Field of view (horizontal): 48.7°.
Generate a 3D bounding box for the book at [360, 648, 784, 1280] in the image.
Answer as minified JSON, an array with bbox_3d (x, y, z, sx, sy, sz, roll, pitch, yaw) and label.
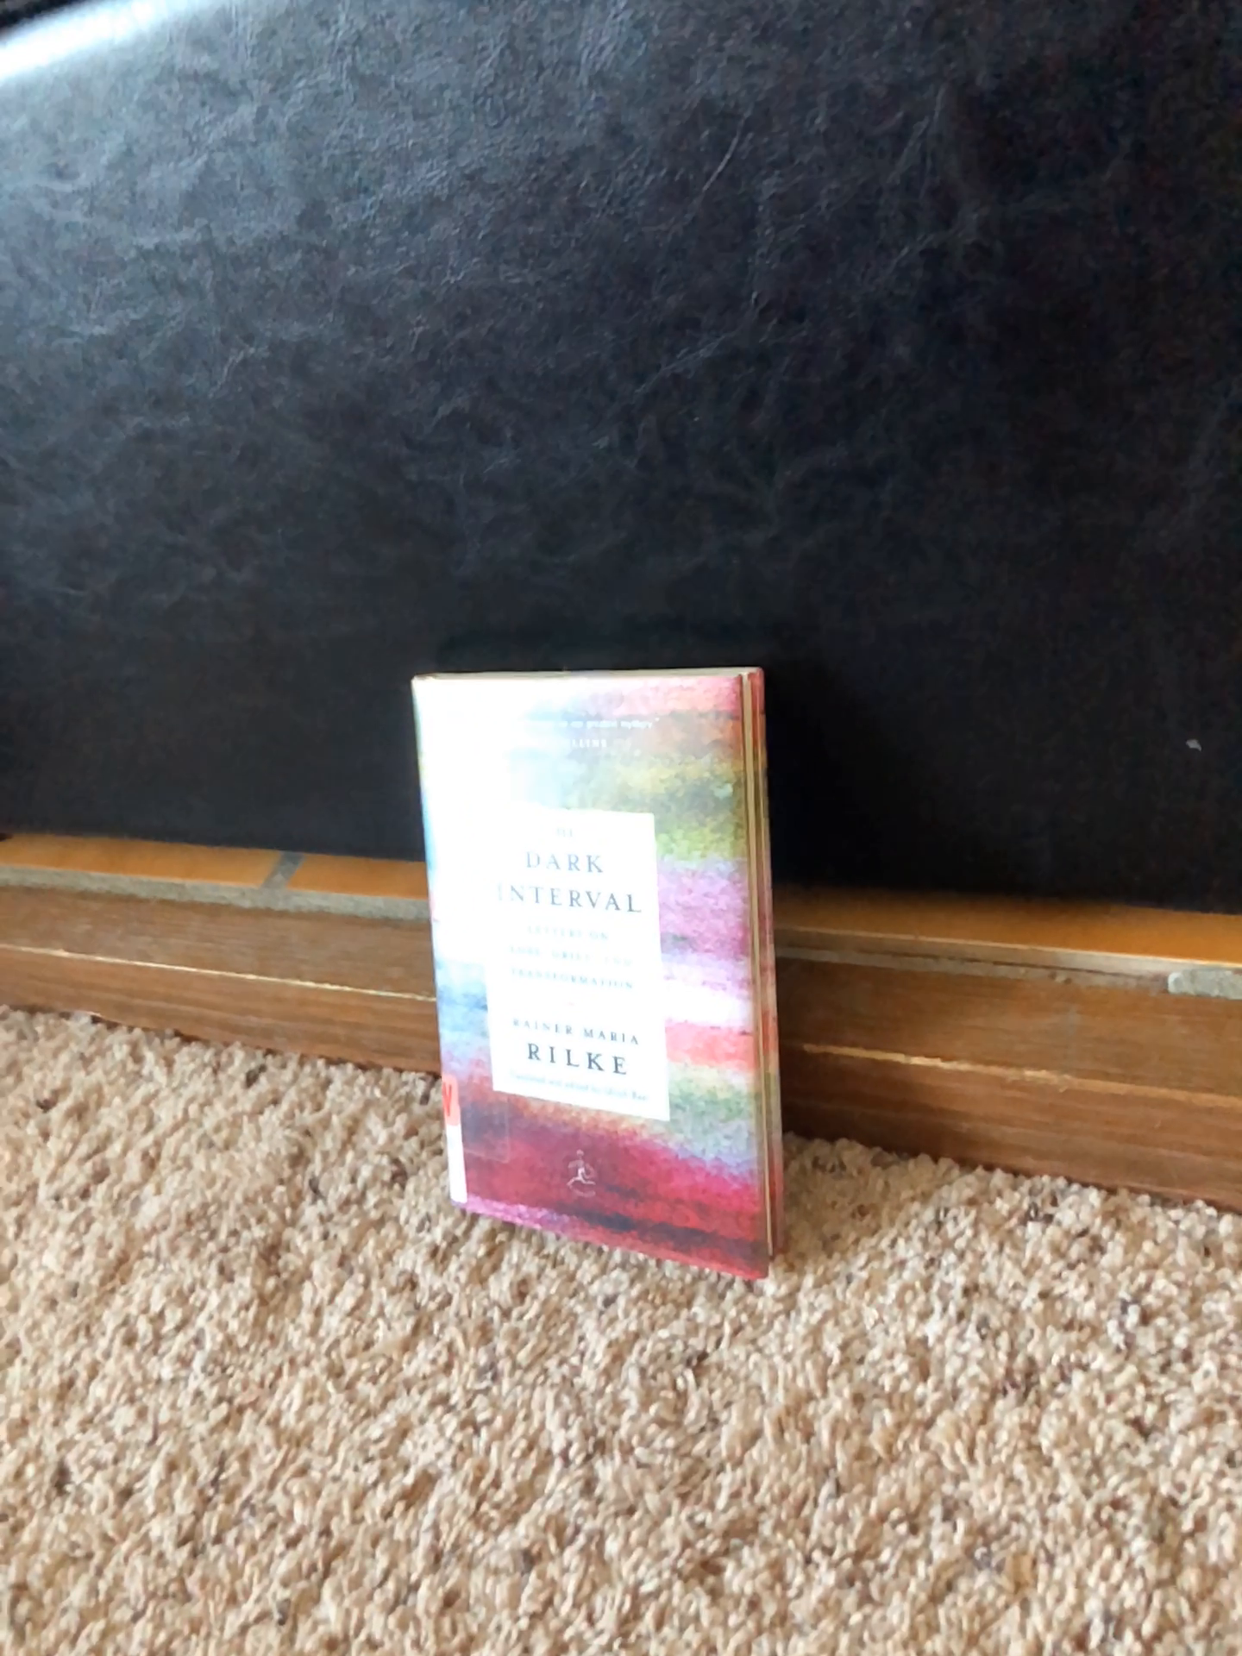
[{"bbox_3d":[-0.017,0.038,0.449,0.135,0.190,0.030,4,12,30],"label":"book"}]
